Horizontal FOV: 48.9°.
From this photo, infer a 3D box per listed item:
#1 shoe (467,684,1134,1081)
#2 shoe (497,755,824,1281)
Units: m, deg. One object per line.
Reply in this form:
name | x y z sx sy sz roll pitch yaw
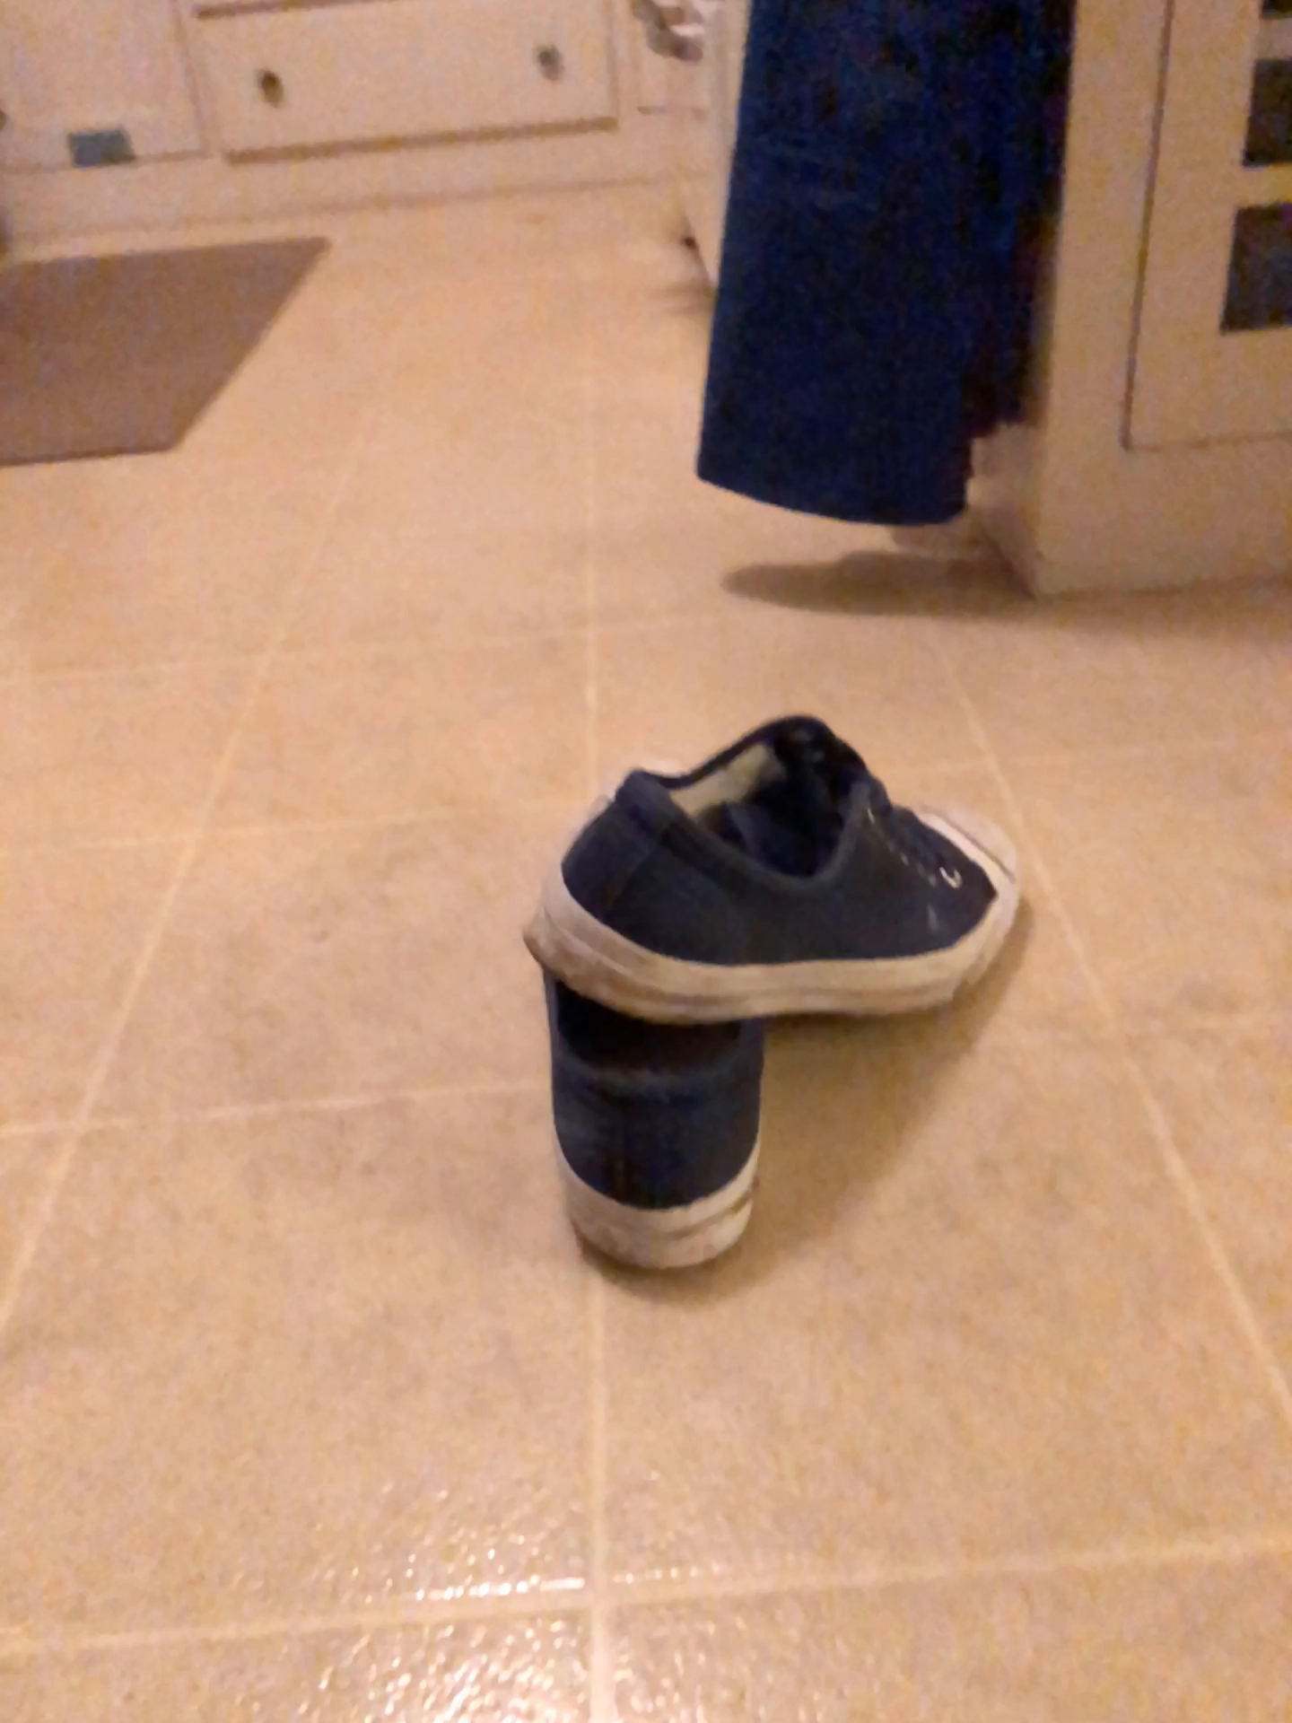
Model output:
shoe | 0.080 -0.005 0.609 0.290 0.100 0.100 -7 44 -47
shoe | 0.000 0.048 0.625 0.110 0.080 0.292 -2 27 -2
